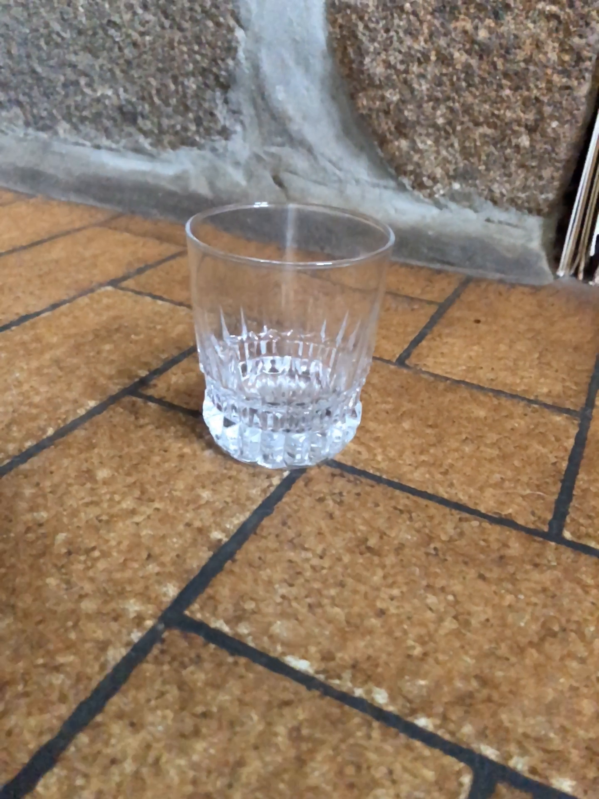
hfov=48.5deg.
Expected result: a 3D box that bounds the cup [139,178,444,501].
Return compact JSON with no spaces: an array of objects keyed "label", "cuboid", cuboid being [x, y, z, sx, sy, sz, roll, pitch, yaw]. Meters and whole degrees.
[{"label":"cup","cuboid":[-0.005,-0.031,0.269,0.080,0.089,0.080,3,31,-2]}]
